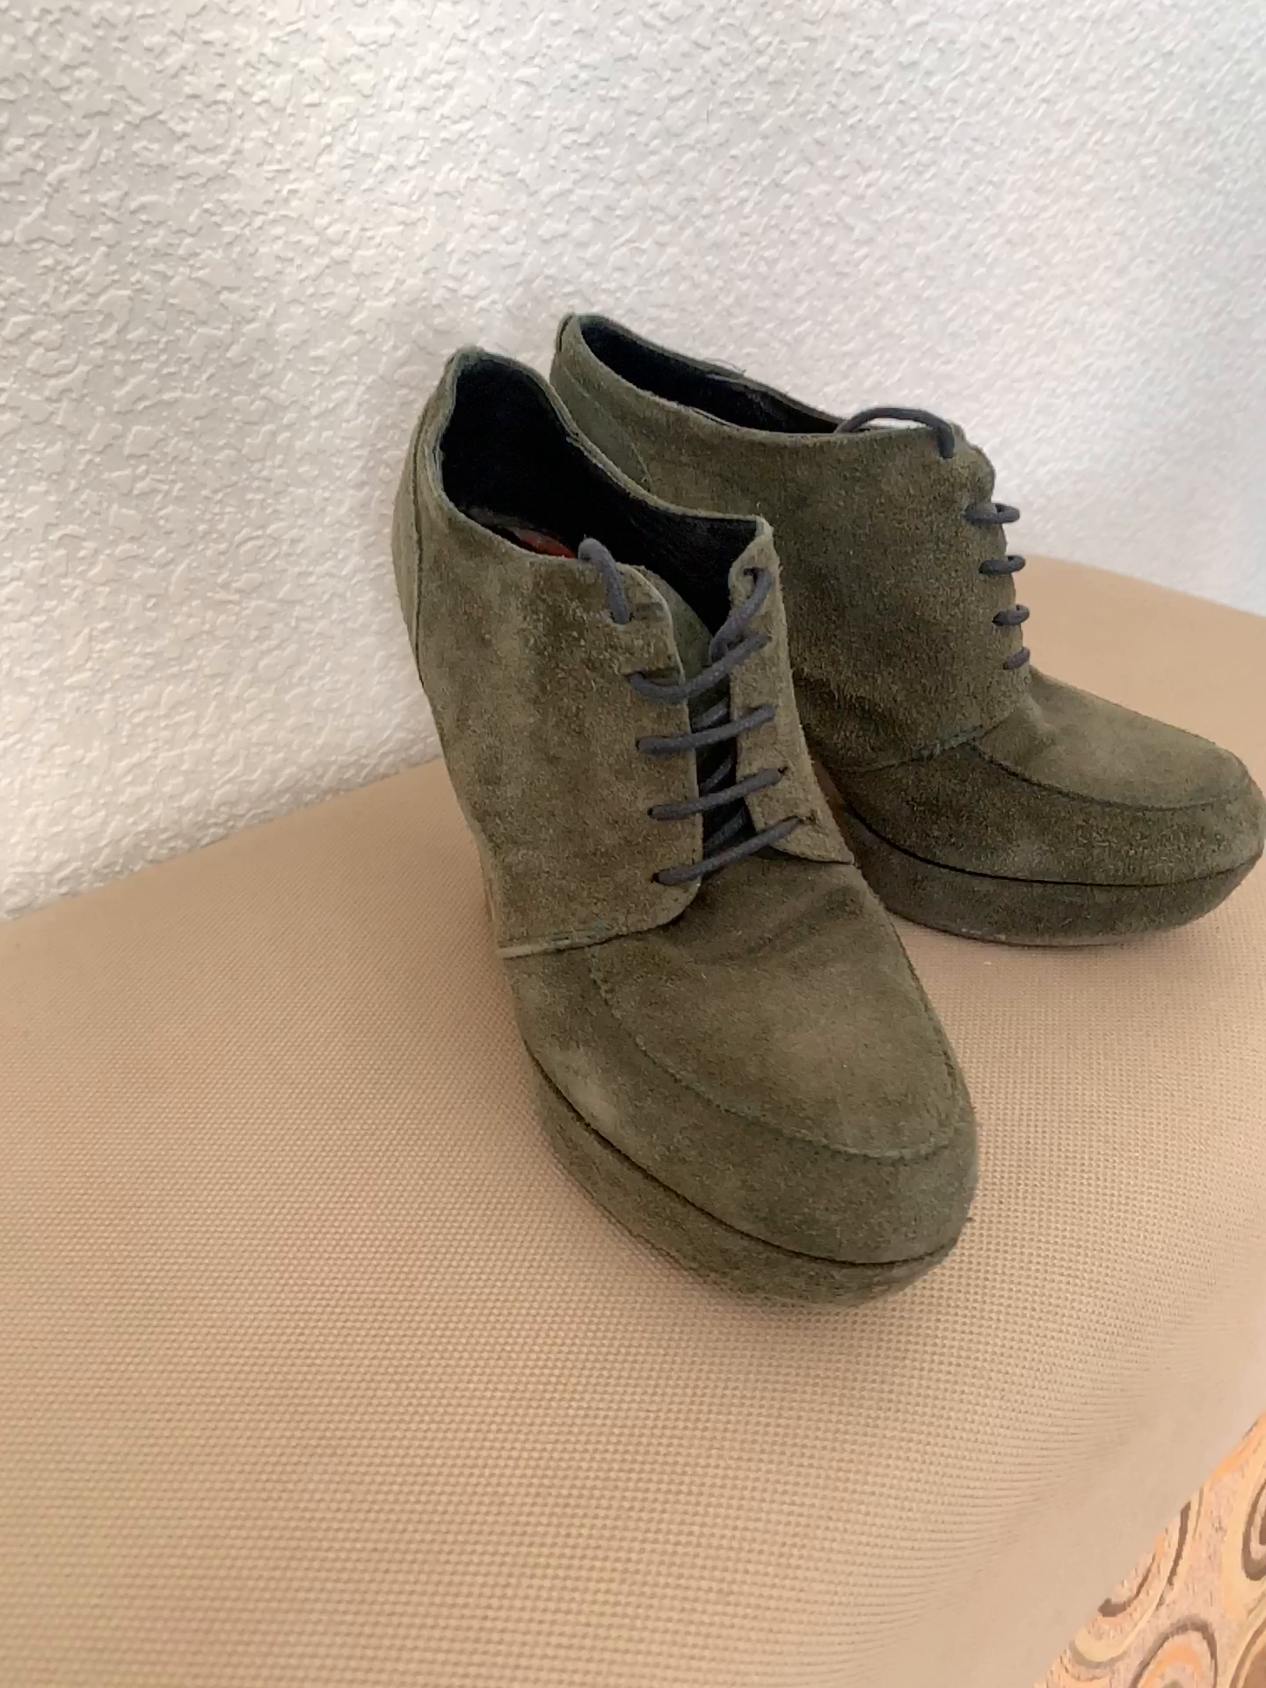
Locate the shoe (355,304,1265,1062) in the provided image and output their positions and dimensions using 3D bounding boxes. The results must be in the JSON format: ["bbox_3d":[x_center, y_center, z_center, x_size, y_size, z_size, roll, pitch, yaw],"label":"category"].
[{"bbox_3d":[0.055,-0.060,0.392,0.270,0.139,0.081,20,39,23],"label":"shoe"}]

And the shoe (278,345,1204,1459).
[{"bbox_3d":[-0.004,-0.012,0.305,0.086,0.136,0.230,-14,39,-21],"label":"shoe"}]
